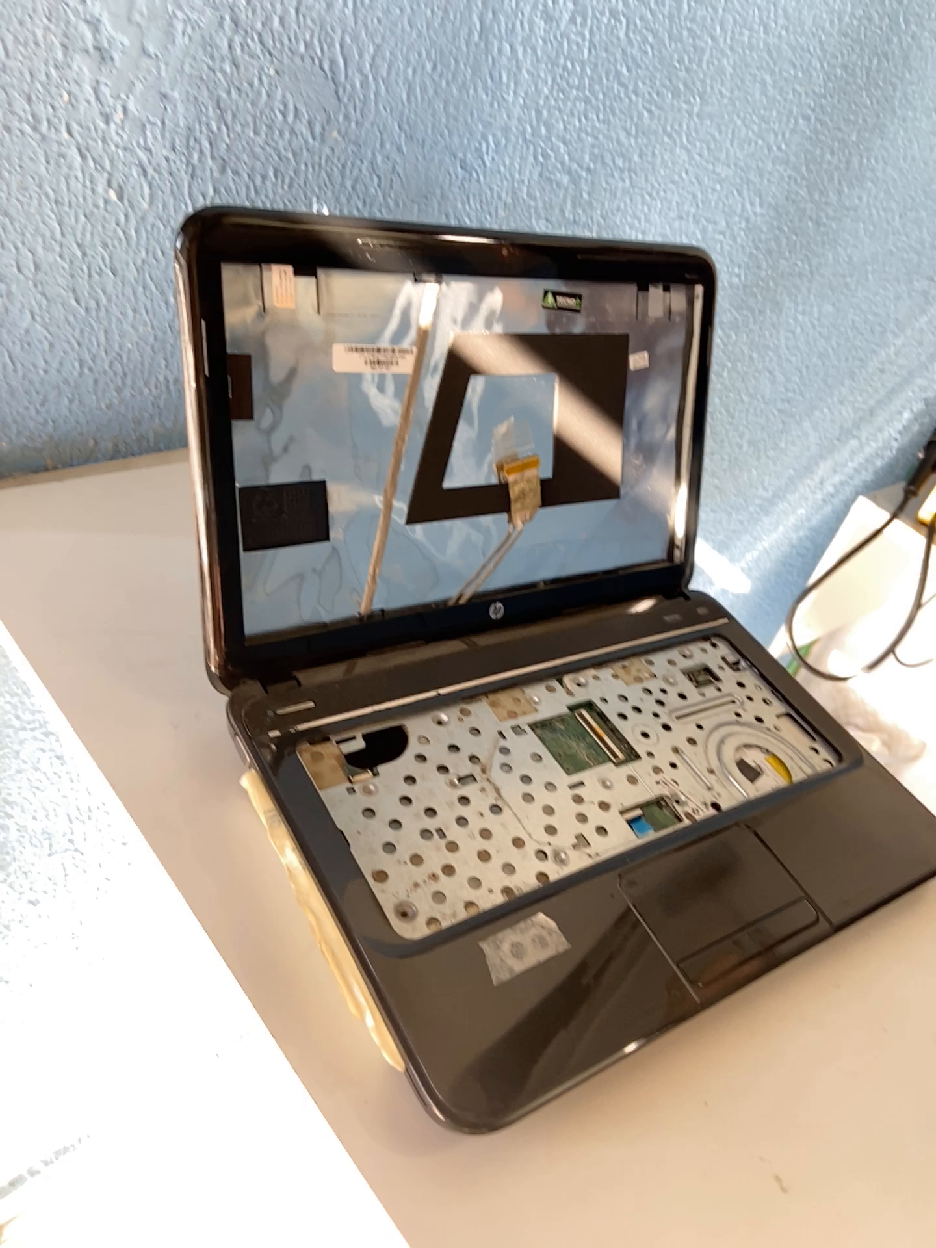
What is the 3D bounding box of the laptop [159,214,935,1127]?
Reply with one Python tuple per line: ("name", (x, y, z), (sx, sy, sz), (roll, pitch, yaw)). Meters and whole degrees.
("laptop", (0.075, -0.029, 0.469), (0.336, 0.186, 0.324), (-11, 46, -34))
